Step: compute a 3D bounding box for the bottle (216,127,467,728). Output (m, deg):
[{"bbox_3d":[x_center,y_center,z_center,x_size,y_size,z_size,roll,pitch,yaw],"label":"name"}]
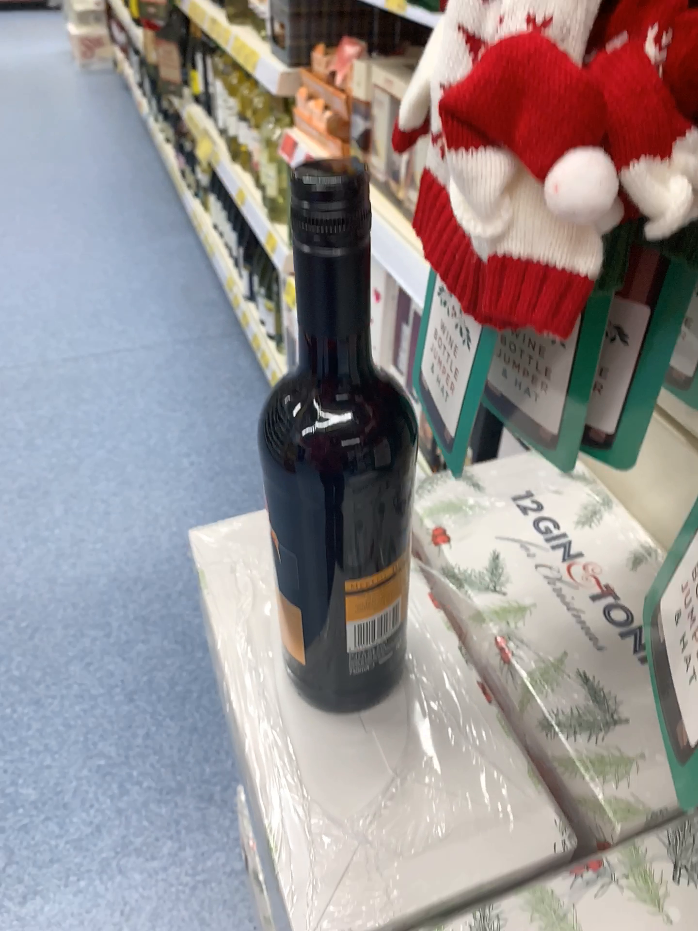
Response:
[{"bbox_3d":[-0.003,0.005,0.348,0.074,0.288,0.078,1,39,-1],"label":"bottle"}]
